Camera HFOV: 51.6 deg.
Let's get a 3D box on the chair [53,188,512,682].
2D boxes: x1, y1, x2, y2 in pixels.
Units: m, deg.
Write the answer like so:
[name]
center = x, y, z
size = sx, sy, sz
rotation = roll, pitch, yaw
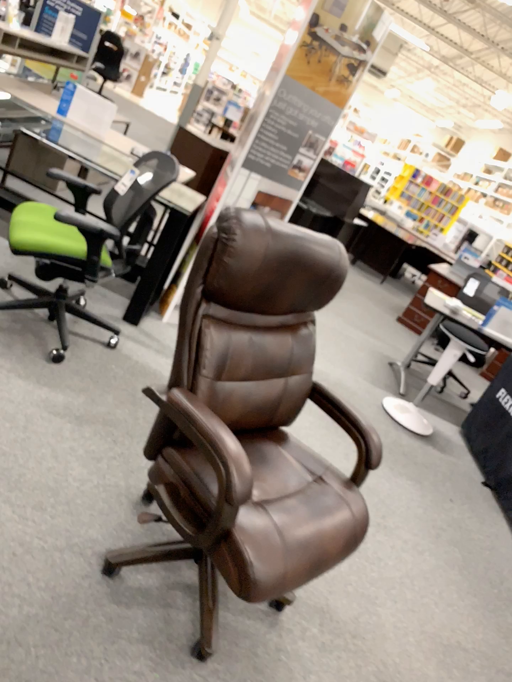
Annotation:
[chair]
center = 0.056, 0.281, 1.596
size = 0.752, 1.095, 0.701
rotation = 3, 34, -49
